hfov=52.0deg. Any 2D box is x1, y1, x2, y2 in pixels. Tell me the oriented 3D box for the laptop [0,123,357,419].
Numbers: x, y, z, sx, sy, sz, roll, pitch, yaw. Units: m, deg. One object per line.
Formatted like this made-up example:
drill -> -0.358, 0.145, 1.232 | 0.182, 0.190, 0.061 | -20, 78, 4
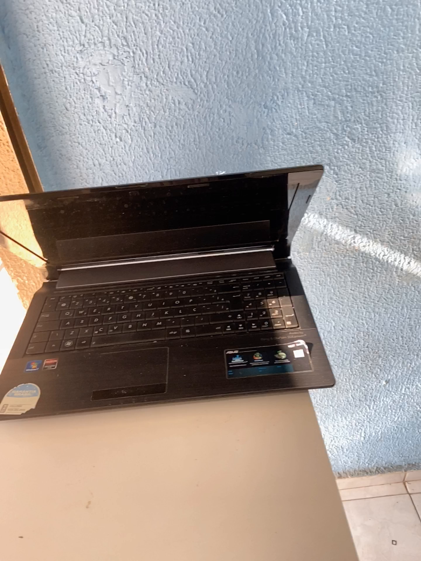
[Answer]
laptop -> -0.070, -0.027, 0.514 | 0.387, 0.208, 0.256 | -5, 35, 1
